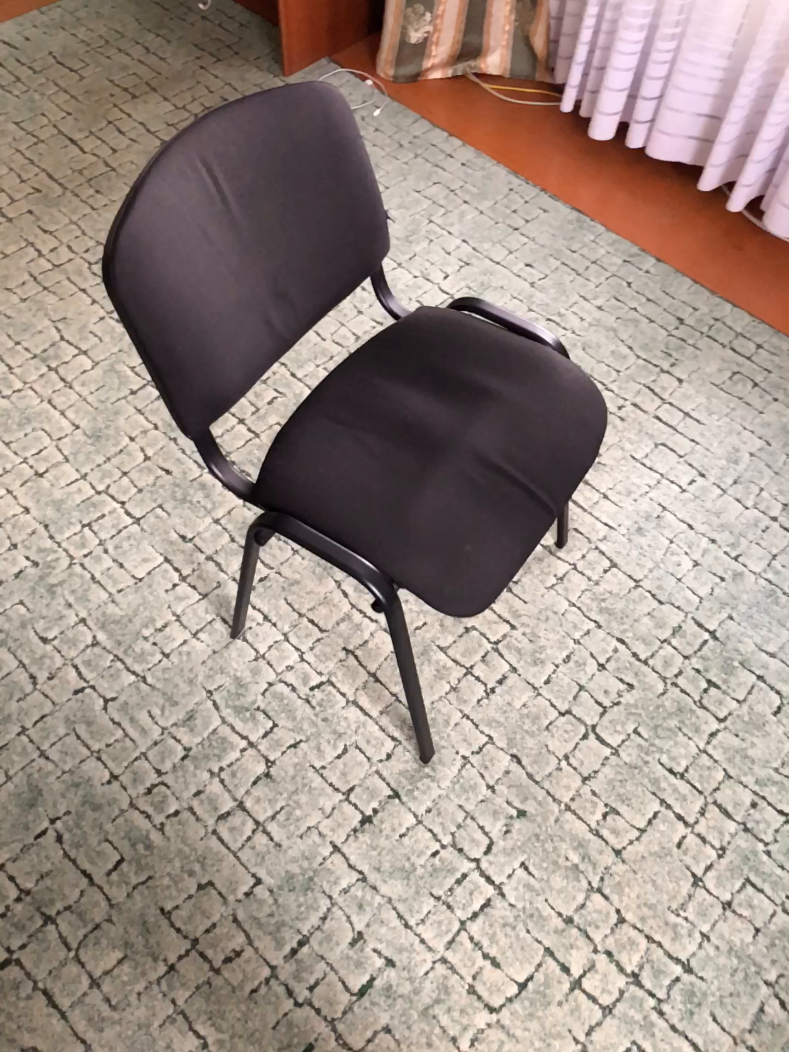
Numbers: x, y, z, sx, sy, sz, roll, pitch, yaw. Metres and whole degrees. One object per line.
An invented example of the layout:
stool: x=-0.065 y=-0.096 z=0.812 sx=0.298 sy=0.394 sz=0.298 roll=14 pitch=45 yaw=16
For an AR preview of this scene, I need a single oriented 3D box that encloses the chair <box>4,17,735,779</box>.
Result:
chair: x=-0.019 y=-0.146 z=1.298 sx=0.601 sy=0.785 sz=0.583 roll=29 pitch=60 yaw=16
